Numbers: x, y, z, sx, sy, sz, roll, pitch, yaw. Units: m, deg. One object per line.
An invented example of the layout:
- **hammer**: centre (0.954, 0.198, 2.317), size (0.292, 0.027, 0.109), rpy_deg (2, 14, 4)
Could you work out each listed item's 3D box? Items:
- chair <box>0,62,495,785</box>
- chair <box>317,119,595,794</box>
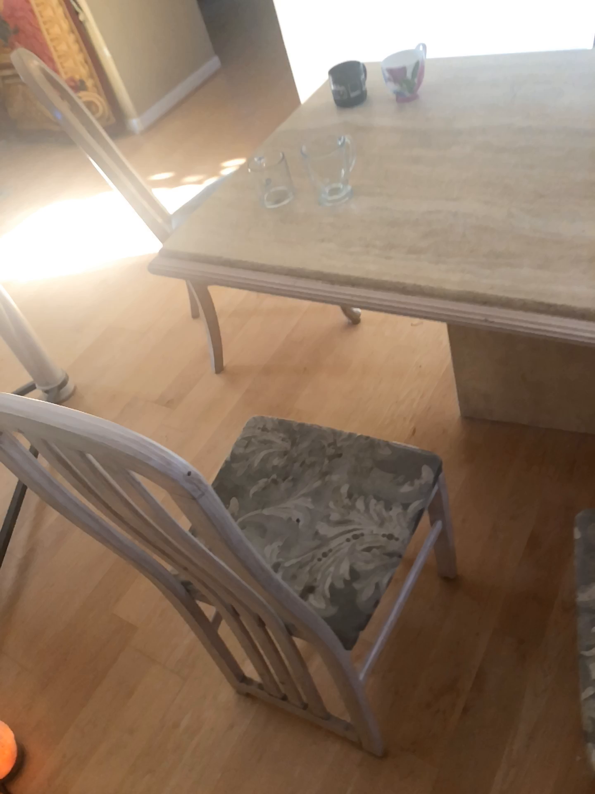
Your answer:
- **chair**: centre (-0.008, 0.139, 1.157), size (0.481, 1.141, 0.564), rpy_deg (11, 53, 30)
- **chair**: centre (0.484, 0.312, 0.932), size (0.480, 1.141, 0.564), rpy_deg (7, 49, 27)
